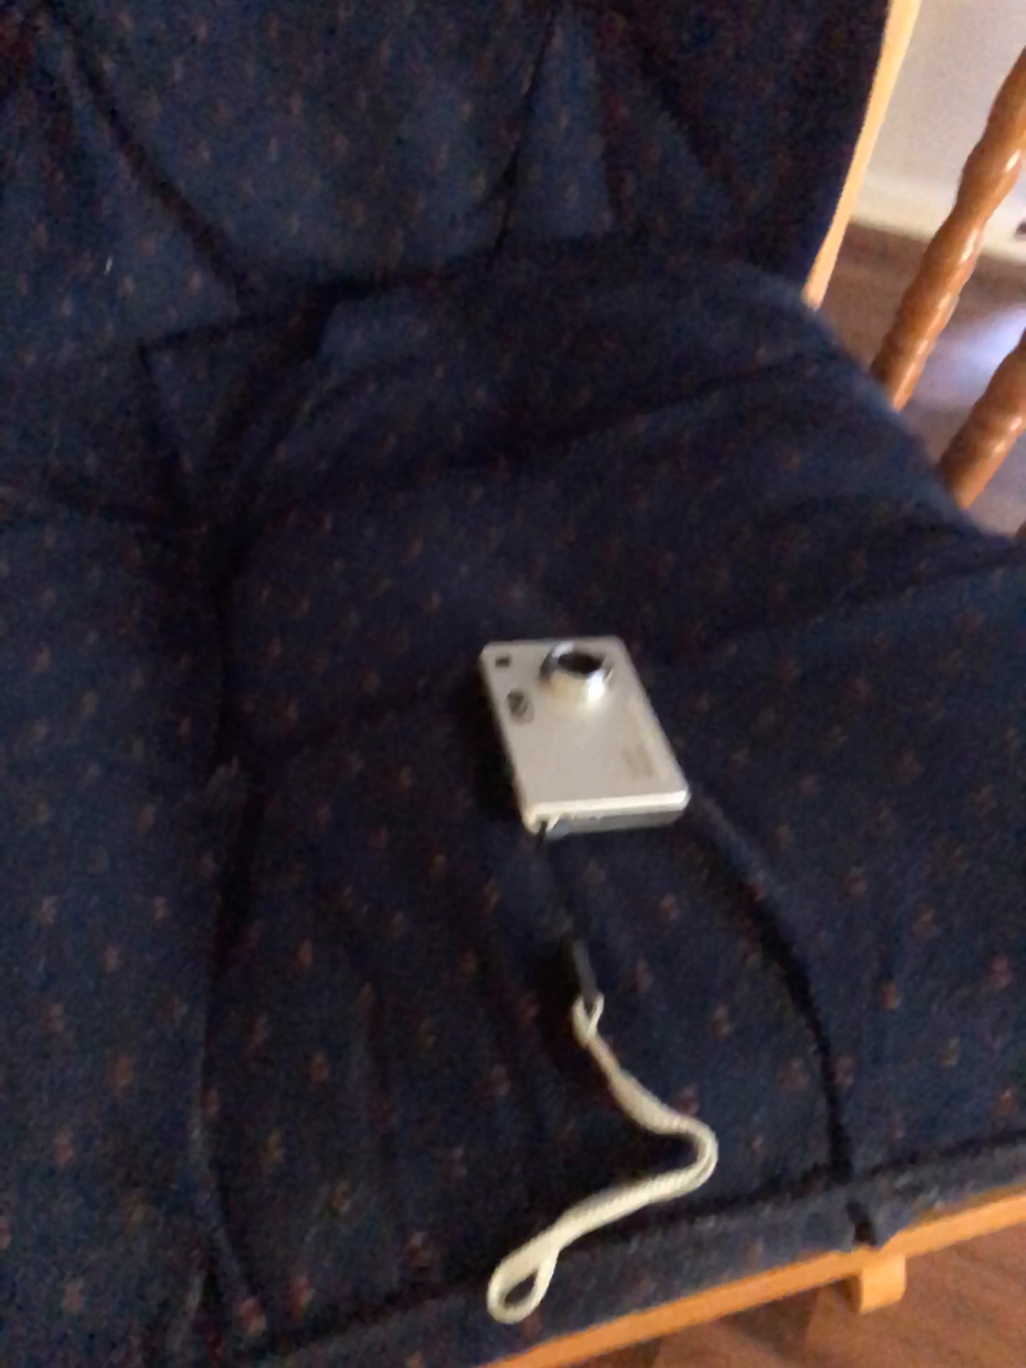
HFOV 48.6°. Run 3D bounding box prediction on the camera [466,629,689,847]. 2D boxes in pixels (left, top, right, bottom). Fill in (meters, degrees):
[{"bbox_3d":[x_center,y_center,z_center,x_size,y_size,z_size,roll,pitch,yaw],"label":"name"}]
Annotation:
[{"bbox_3d":[0.020,0.016,0.400,0.058,0.018,0.085,-4,43,-12],"label":"camera"}]
